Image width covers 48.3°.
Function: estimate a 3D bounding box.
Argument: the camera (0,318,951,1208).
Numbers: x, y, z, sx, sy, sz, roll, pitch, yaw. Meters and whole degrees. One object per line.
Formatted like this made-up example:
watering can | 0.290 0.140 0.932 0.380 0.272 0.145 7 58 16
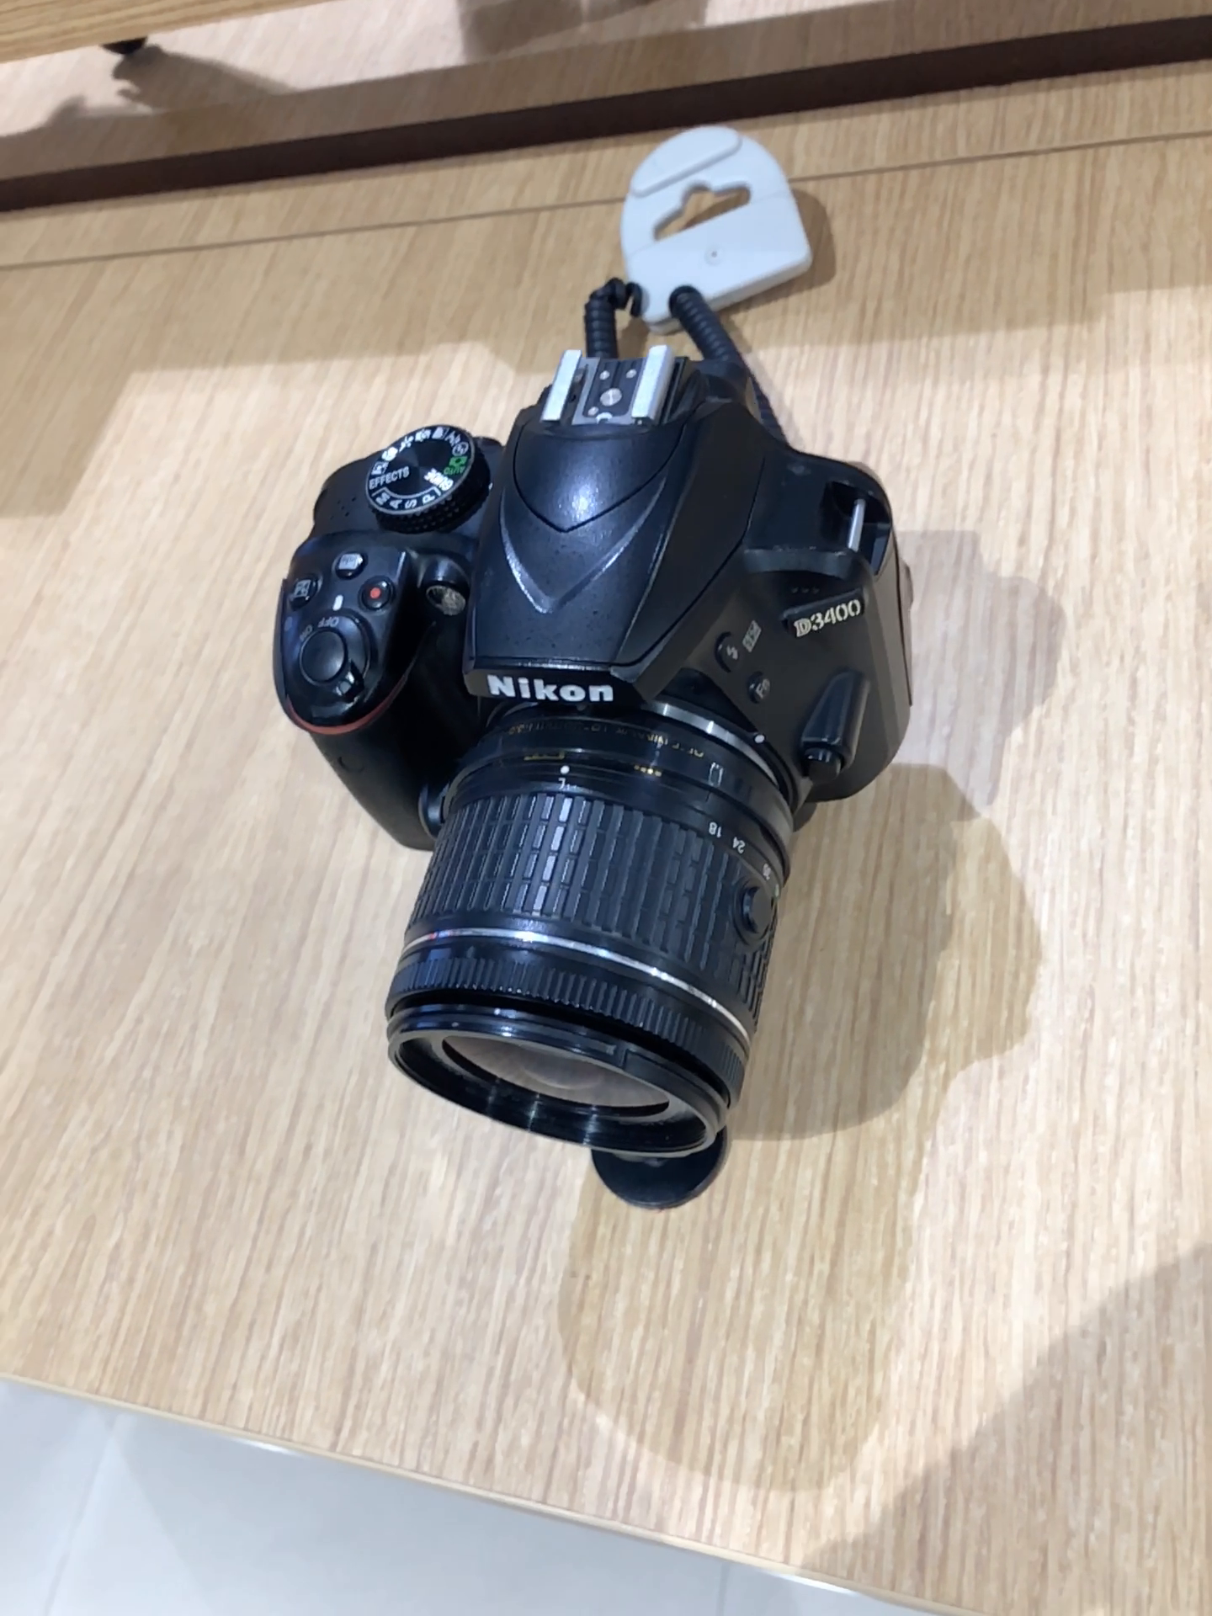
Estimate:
camera | -0.014 -0.009 0.246 0.133 0.084 0.120 3 61 20
